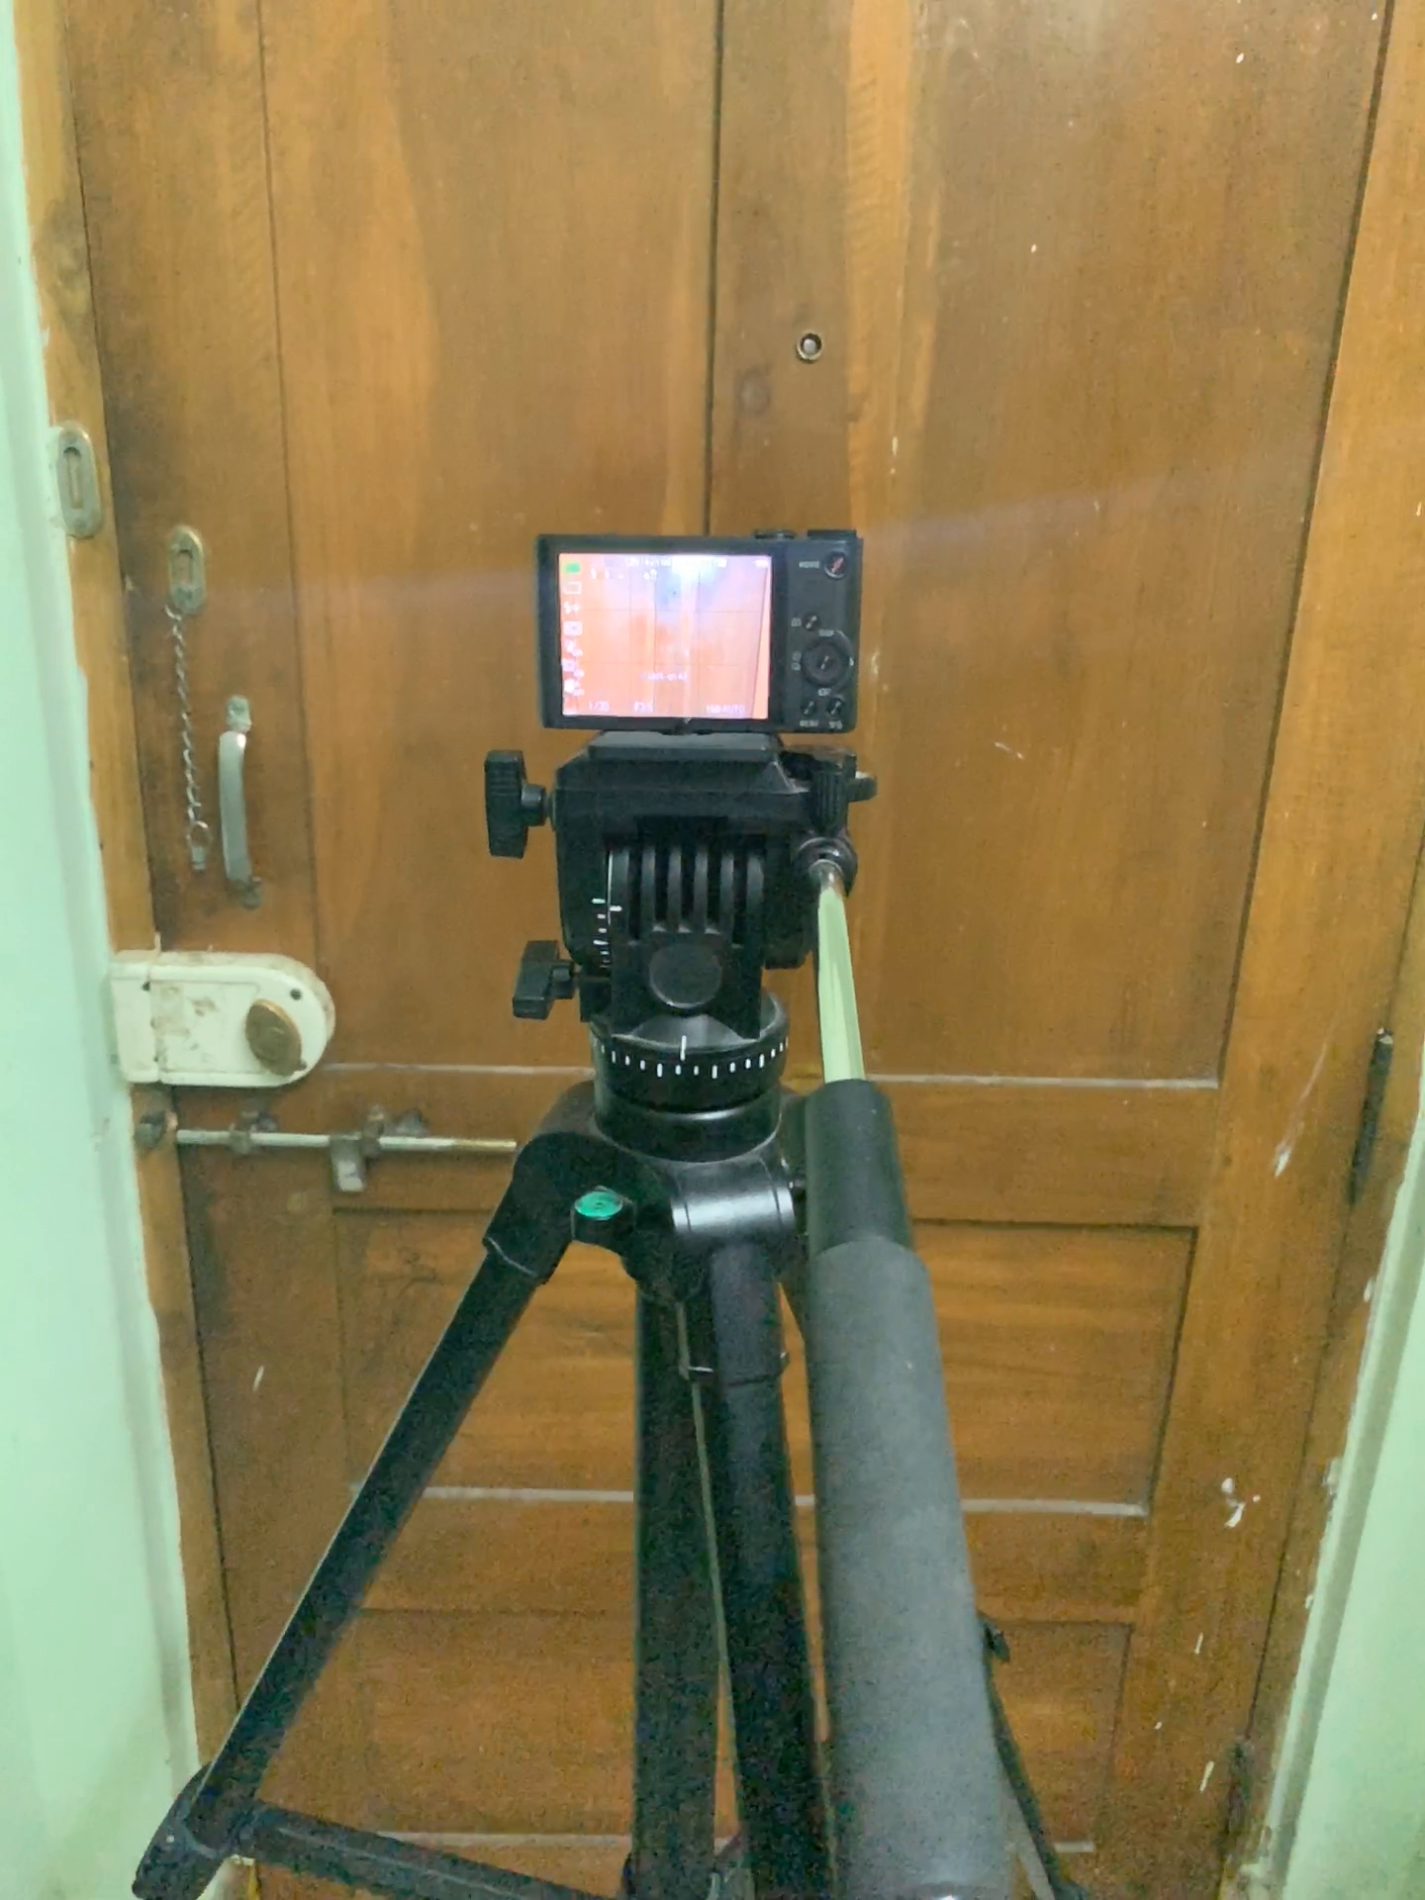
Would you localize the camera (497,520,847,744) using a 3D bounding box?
[{"bbox_3d":[-0.012,-0.096,0.443,0.100,0.060,0.040,3,13,2],"label":"camera"}]
